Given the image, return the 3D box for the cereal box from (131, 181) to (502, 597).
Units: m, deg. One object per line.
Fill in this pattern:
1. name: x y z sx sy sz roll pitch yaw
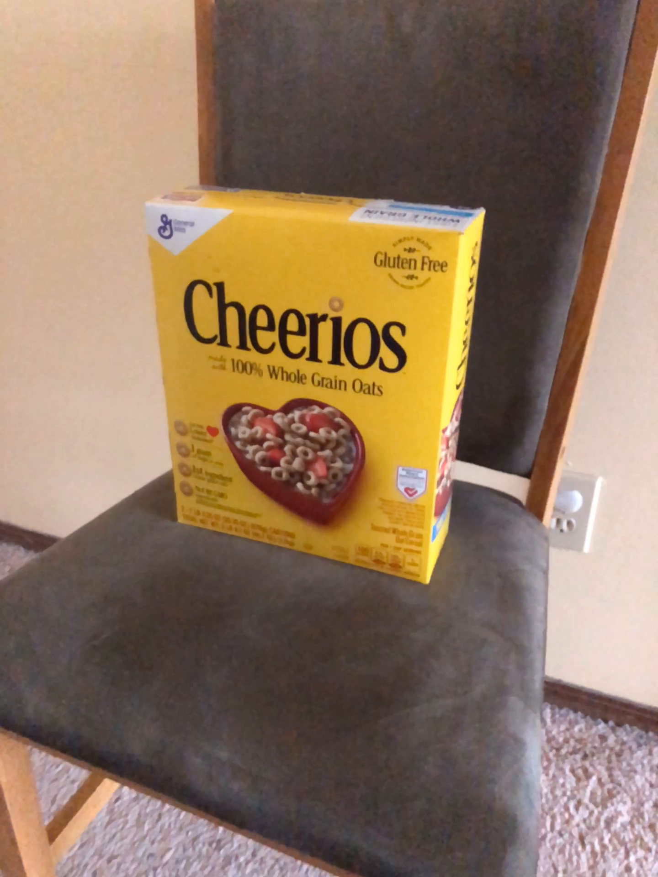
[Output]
1. cereal box: -0.010 -0.044 0.611 0.260 0.299 0.090 11 31 19
